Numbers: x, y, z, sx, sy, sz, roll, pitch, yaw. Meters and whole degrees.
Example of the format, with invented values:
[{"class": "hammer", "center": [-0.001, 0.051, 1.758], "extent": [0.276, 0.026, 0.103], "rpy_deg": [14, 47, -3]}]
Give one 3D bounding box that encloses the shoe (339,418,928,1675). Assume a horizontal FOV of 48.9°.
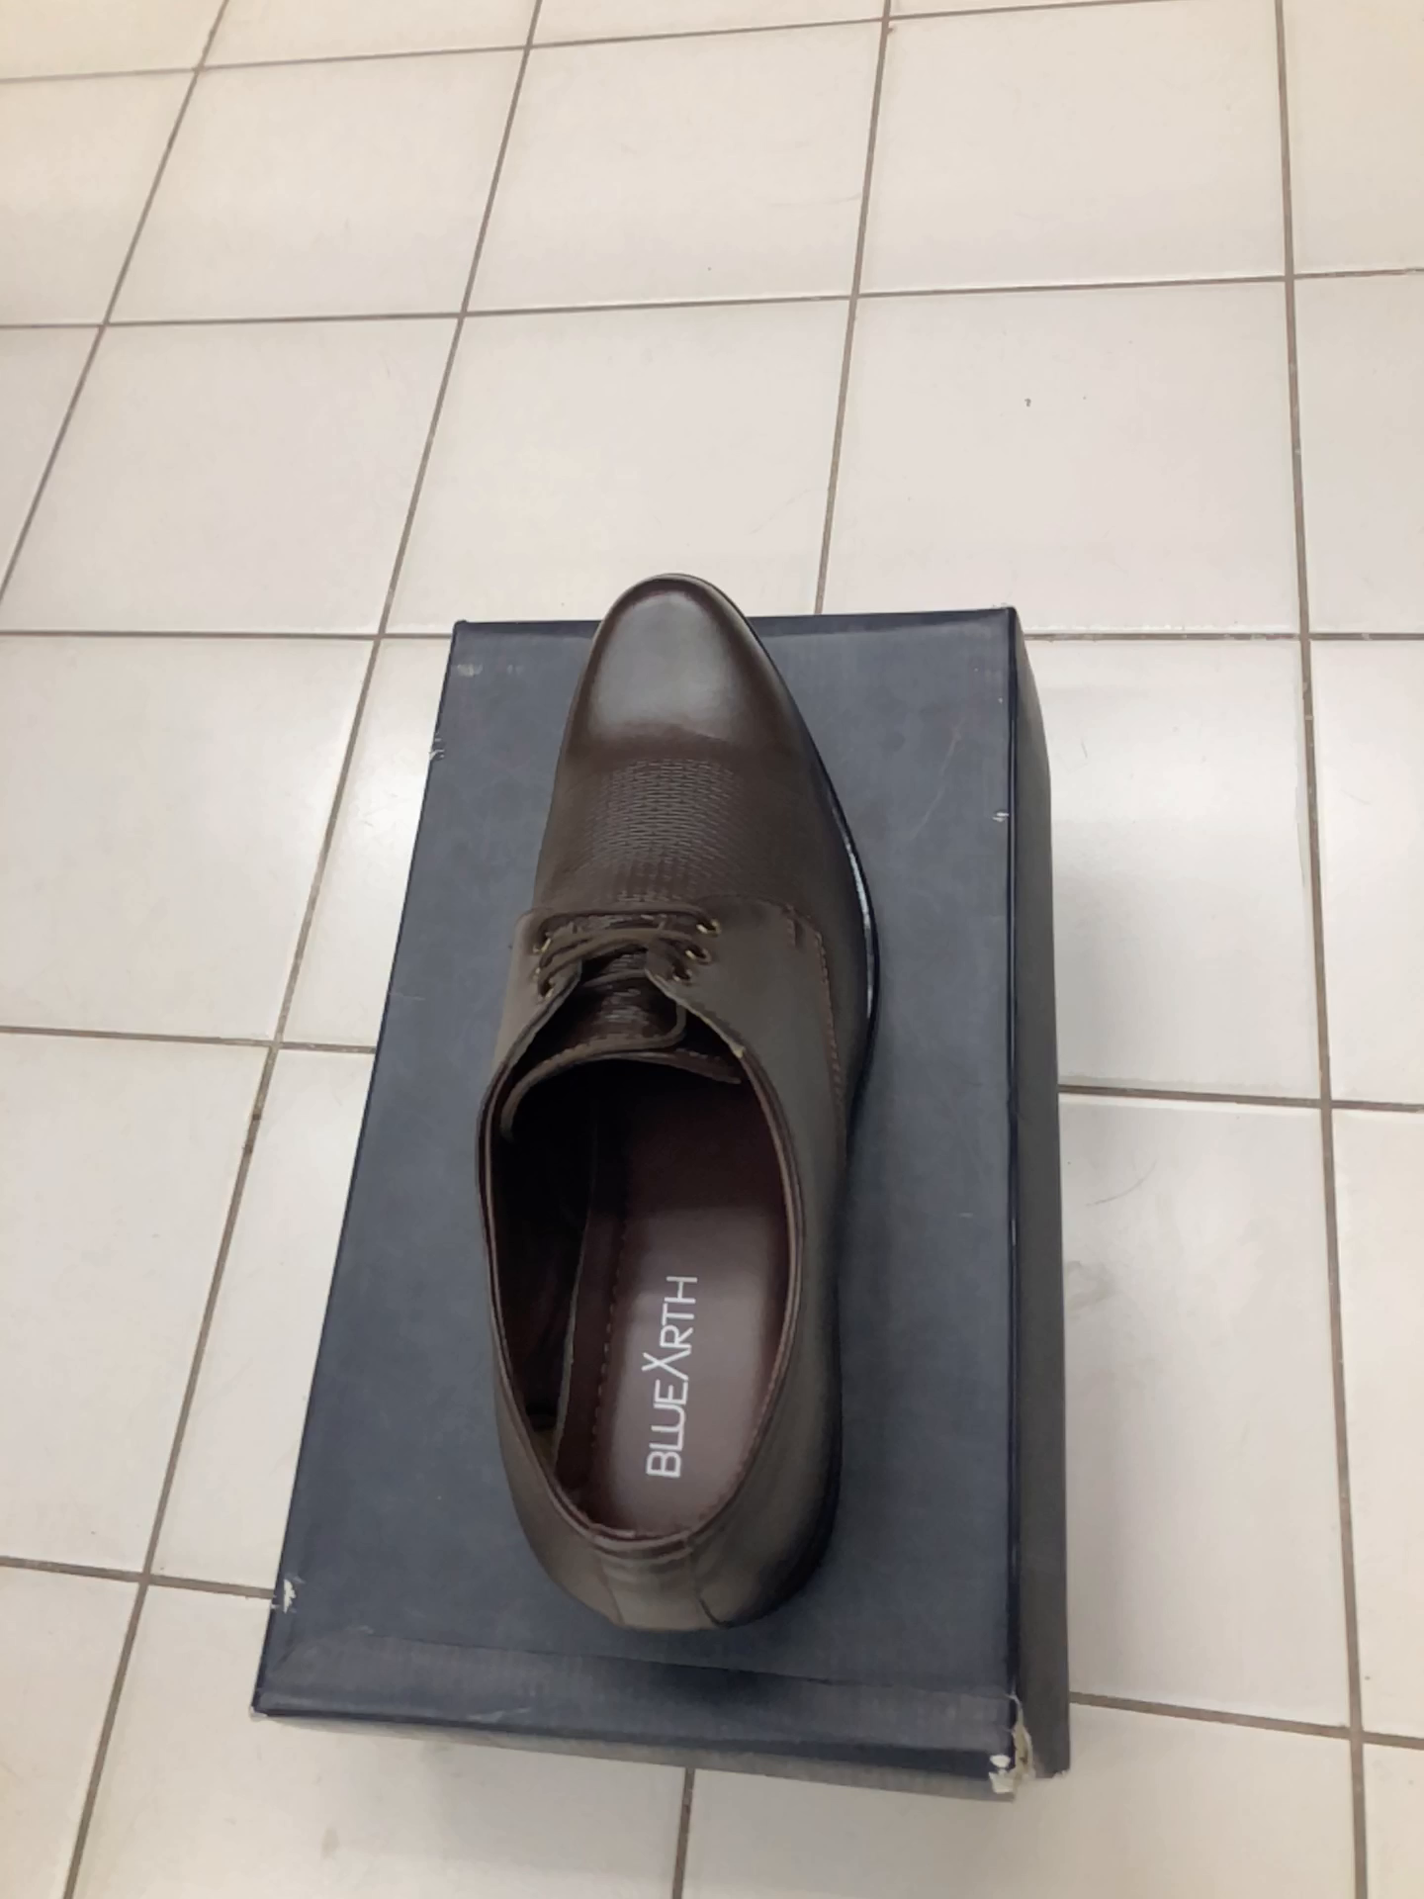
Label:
[{"class": "shoe", "center": [-0.006, 0.019, 0.403], "extent": [0.110, 0.100, 0.301], "rpy_deg": [-2, 65, 9]}]
